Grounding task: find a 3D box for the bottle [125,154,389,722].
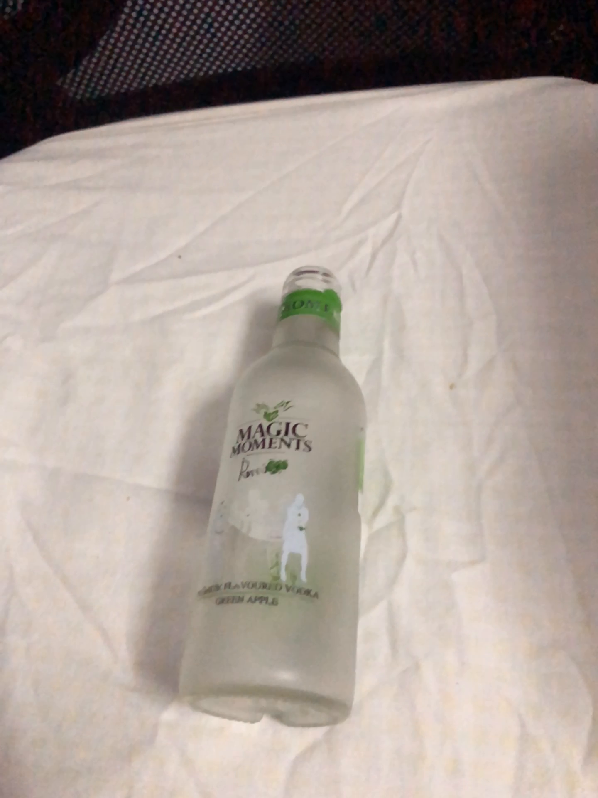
[{"bbox_3d":[-0.001,0.005,0.226,0.060,0.060,0.180,0,60,9],"label":"bottle"}]
